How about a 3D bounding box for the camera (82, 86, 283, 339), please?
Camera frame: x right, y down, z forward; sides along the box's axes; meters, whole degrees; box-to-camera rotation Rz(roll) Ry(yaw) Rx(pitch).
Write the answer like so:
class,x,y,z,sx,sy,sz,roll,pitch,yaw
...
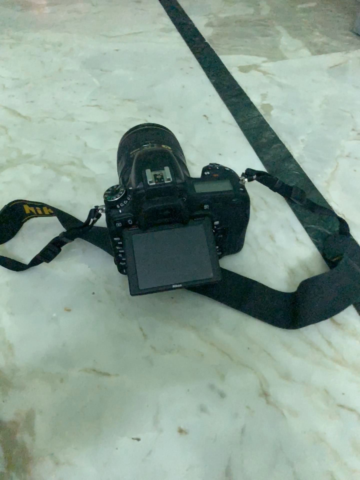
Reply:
class,x,y,z,sx,sy,sz,roll,pitch,yaw
camera,-0.015,-0.048,0.389,0.146,0.100,0.259,-8,47,-4
